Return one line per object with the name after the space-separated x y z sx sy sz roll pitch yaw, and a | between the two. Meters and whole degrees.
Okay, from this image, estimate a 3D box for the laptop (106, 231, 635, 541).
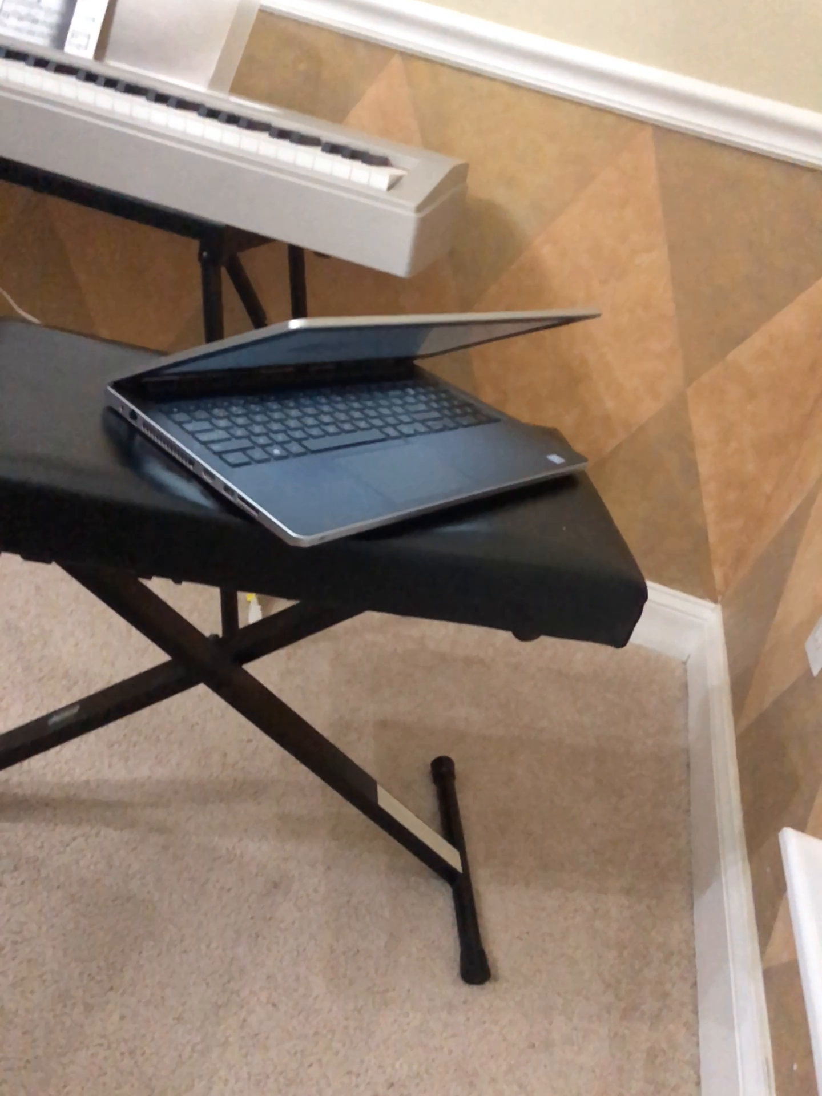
-0.027 -0.168 0.814 0.262 0.136 0.377 36 35 31 | laptop
